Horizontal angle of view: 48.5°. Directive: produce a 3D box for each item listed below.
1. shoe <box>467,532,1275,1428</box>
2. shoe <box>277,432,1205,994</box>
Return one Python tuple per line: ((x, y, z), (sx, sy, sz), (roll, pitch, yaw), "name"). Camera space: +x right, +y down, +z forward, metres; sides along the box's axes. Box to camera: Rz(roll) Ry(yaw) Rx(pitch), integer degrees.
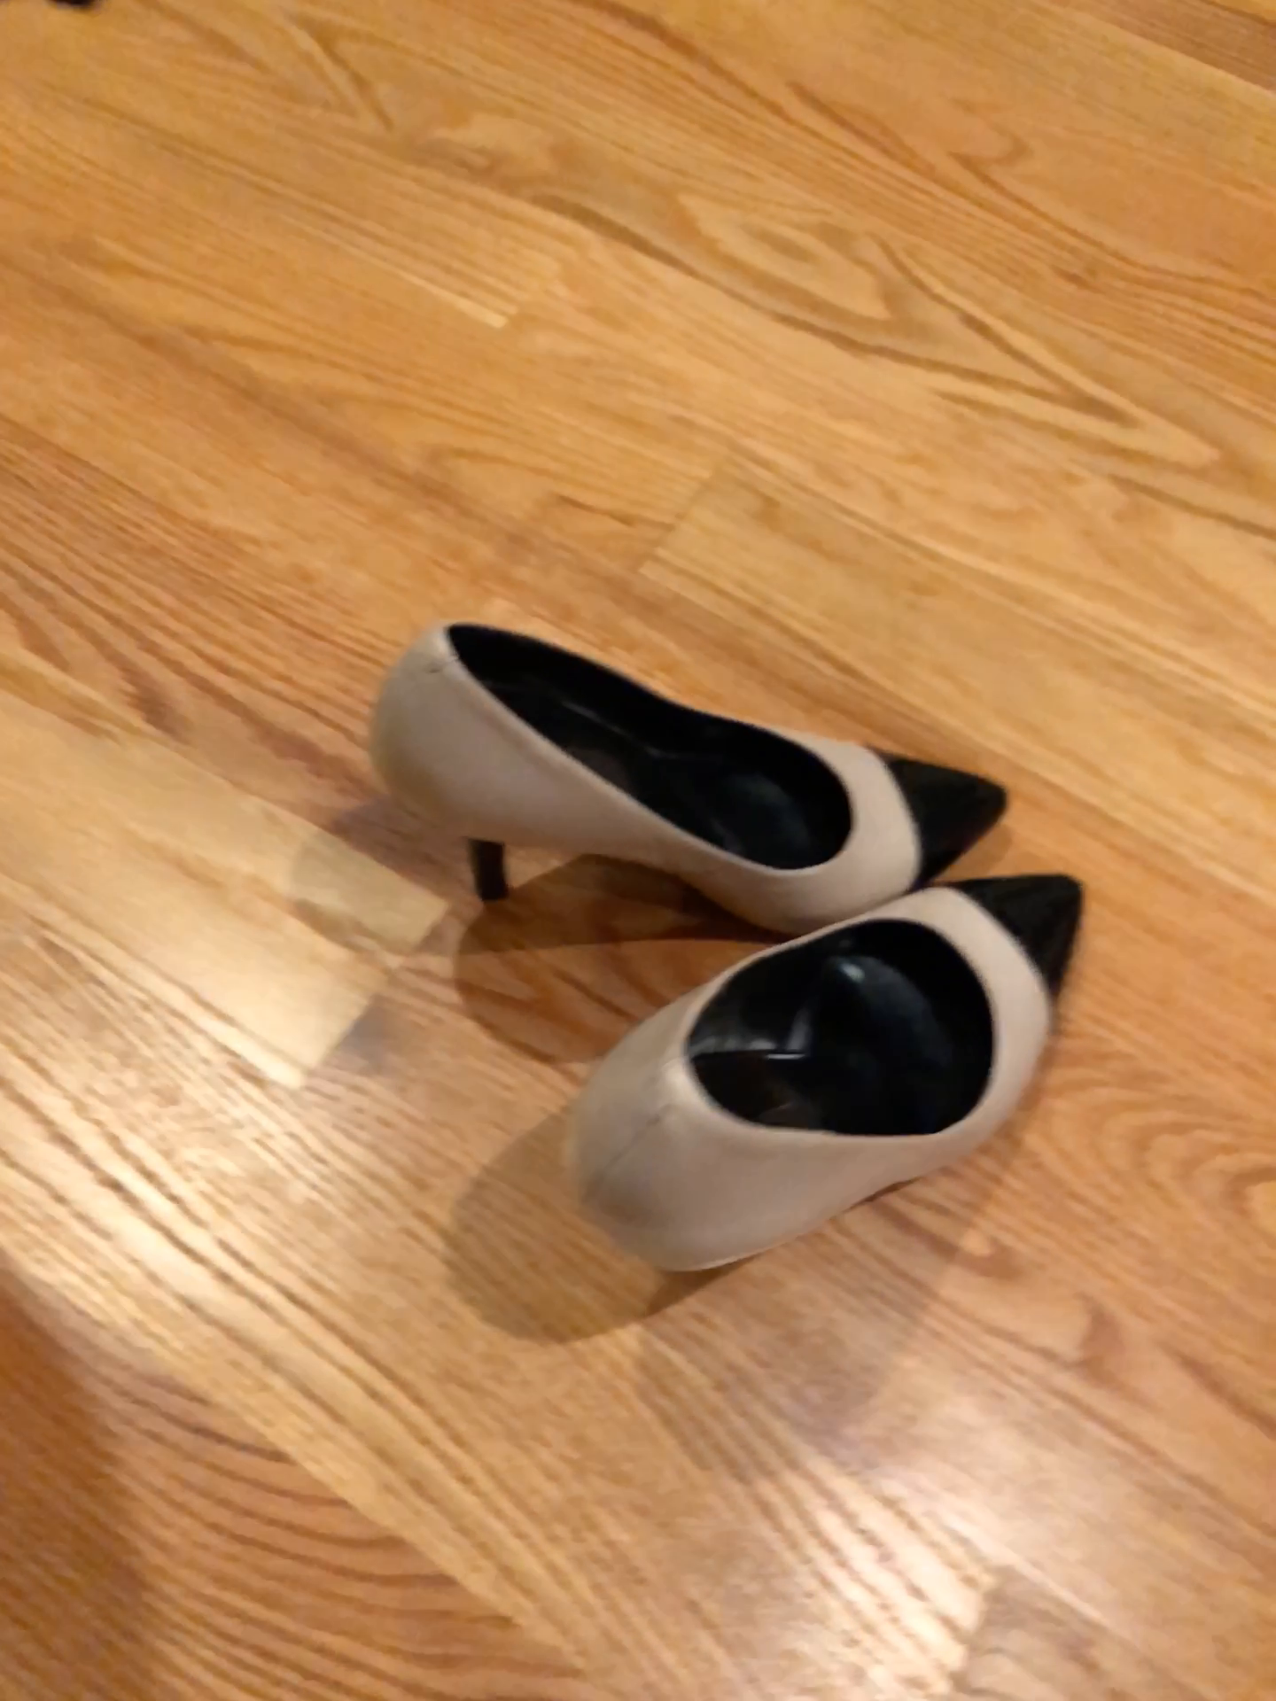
((0.073, 0.036, 0.395), (0.236, 0.138, 0.085), (-34, 69, -23), "shoe")
((0.020, -0.039, 0.434), (0.235, 0.138, 0.085), (-7, 61, -10), "shoe")
